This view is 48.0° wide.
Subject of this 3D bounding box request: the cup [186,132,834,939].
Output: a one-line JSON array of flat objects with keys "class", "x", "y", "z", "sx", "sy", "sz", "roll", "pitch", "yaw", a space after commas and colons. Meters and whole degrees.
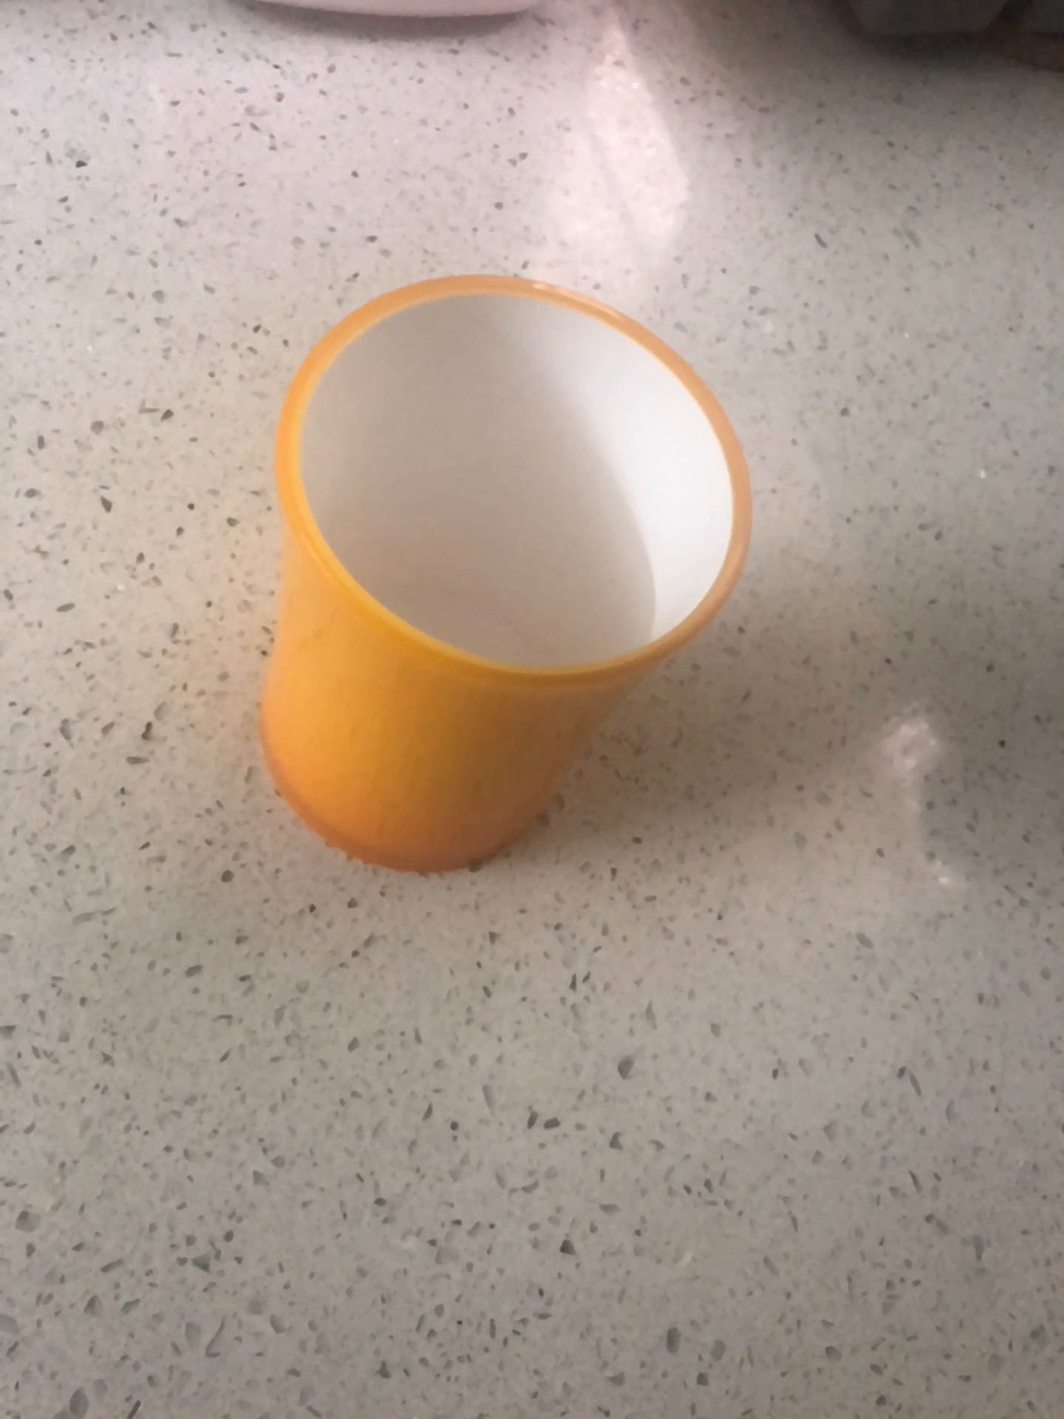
[{"class": "cup", "x": -0.010, "y": -0.019, "z": 0.215, "sx": 0.080, "sy": 0.110, "sz": 0.080, "roll": 6, "pitch": 65, "yaw": -13}]
